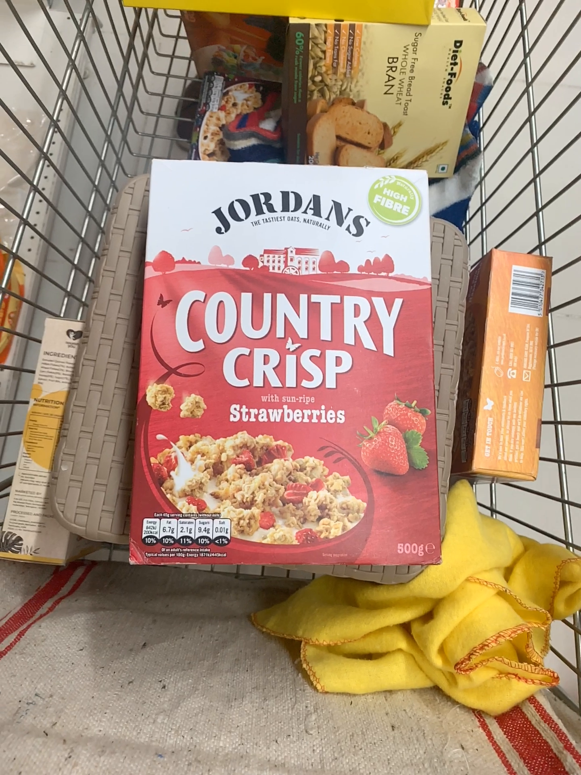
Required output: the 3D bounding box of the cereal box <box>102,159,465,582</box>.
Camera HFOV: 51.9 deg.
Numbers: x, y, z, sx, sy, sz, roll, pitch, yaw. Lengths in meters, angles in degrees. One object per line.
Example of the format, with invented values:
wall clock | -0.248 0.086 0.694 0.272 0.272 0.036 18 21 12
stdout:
cereal box | -0.003 -0.009 0.354 0.180 0.070 0.230 1 78 -3
